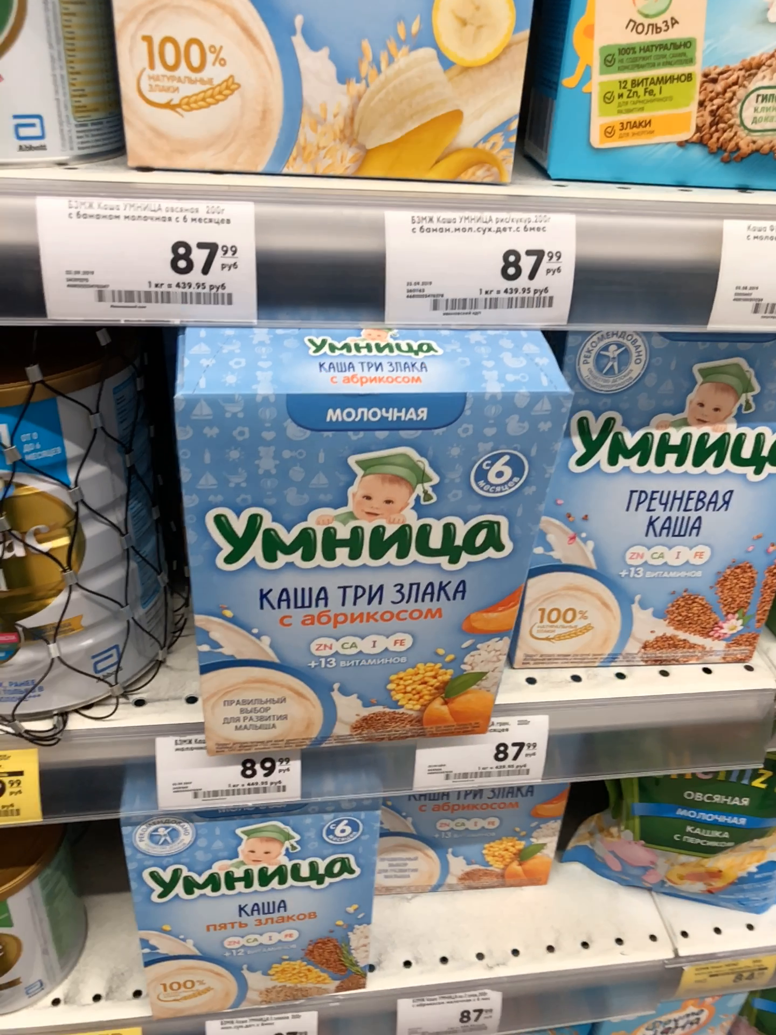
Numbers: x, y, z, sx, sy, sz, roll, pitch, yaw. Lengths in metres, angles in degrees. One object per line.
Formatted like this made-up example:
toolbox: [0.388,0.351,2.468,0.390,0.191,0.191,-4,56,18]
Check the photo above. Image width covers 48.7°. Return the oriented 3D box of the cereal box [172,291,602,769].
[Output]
cereal box: [-0.011,0.016,0.365,0.140,0.209,0.060,-1,41,-9]
